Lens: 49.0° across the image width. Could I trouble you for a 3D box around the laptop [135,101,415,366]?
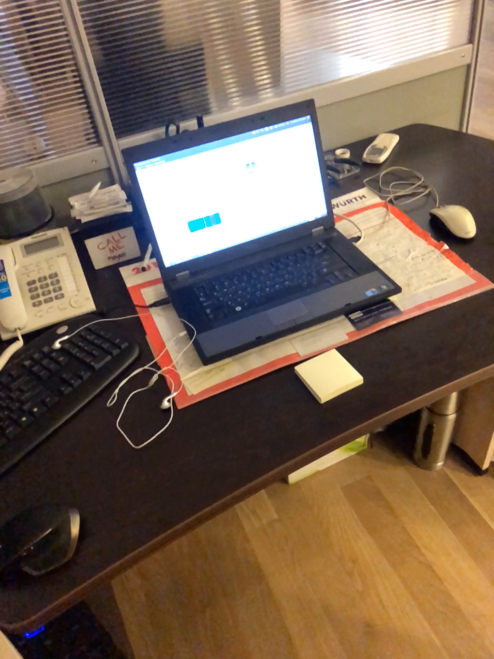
[{"bbox_3d":[0.035,-0.158,0.814,0.317,0.209,0.257,-20,43,-12],"label":"laptop"}]
